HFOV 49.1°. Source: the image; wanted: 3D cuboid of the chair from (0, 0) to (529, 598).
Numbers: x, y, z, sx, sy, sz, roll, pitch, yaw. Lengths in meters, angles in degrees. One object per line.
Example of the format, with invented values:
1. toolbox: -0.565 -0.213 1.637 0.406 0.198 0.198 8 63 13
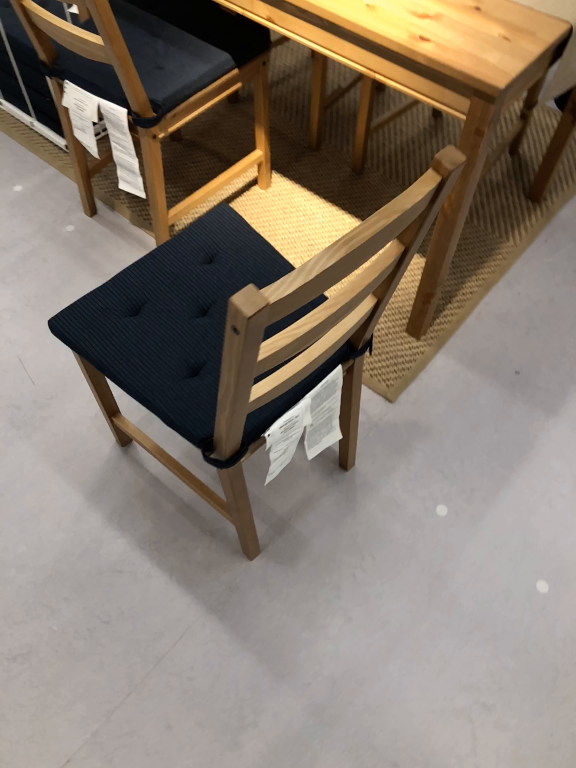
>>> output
1. chair: -0.071 -0.085 1.093 0.521 0.866 0.441 39 65 21
